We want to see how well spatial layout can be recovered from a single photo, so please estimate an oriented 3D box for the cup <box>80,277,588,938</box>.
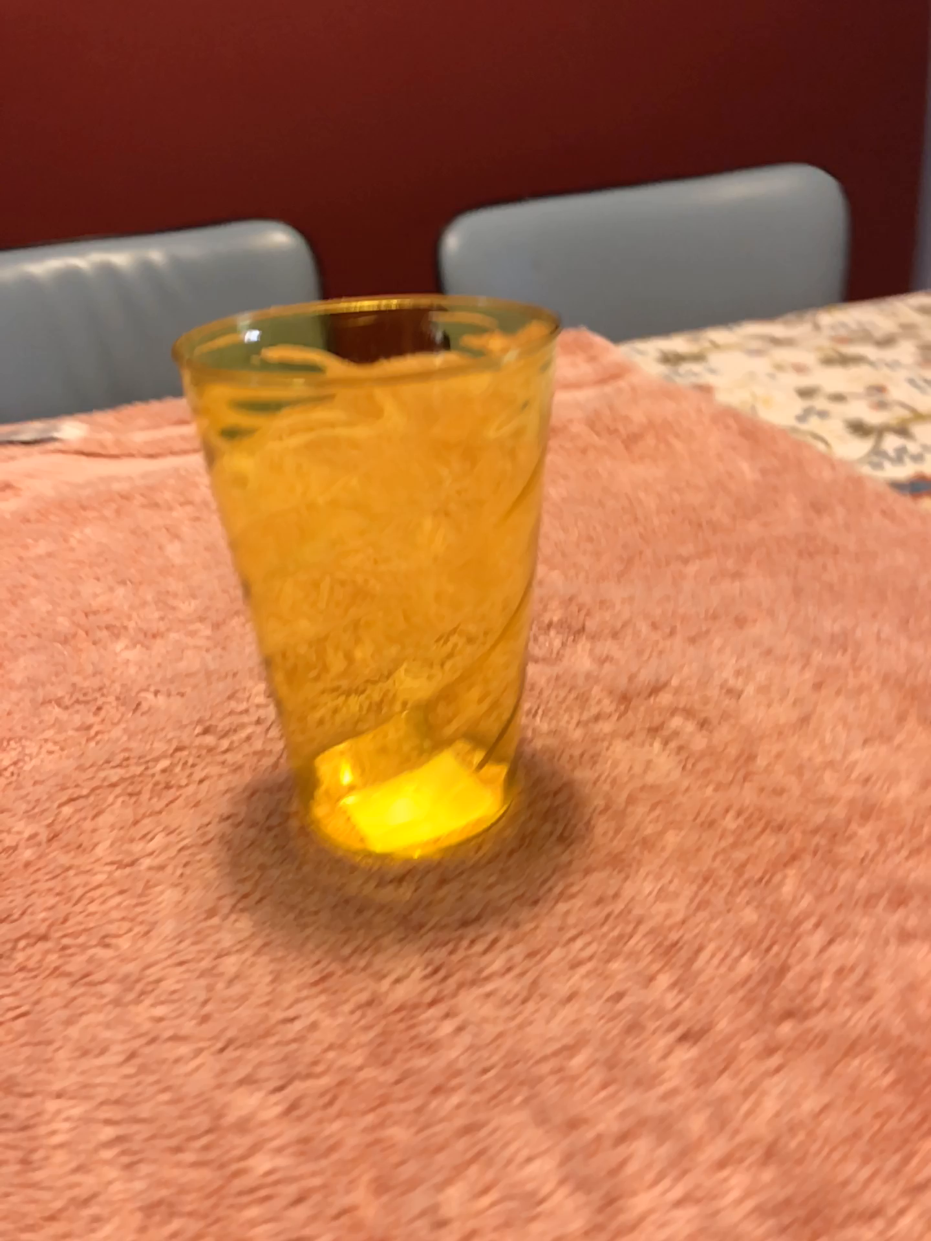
[{"bbox_3d":[-0.020,-0.006,0.235,0.080,0.119,0.081,-5,27,3],"label":"cup"}]
